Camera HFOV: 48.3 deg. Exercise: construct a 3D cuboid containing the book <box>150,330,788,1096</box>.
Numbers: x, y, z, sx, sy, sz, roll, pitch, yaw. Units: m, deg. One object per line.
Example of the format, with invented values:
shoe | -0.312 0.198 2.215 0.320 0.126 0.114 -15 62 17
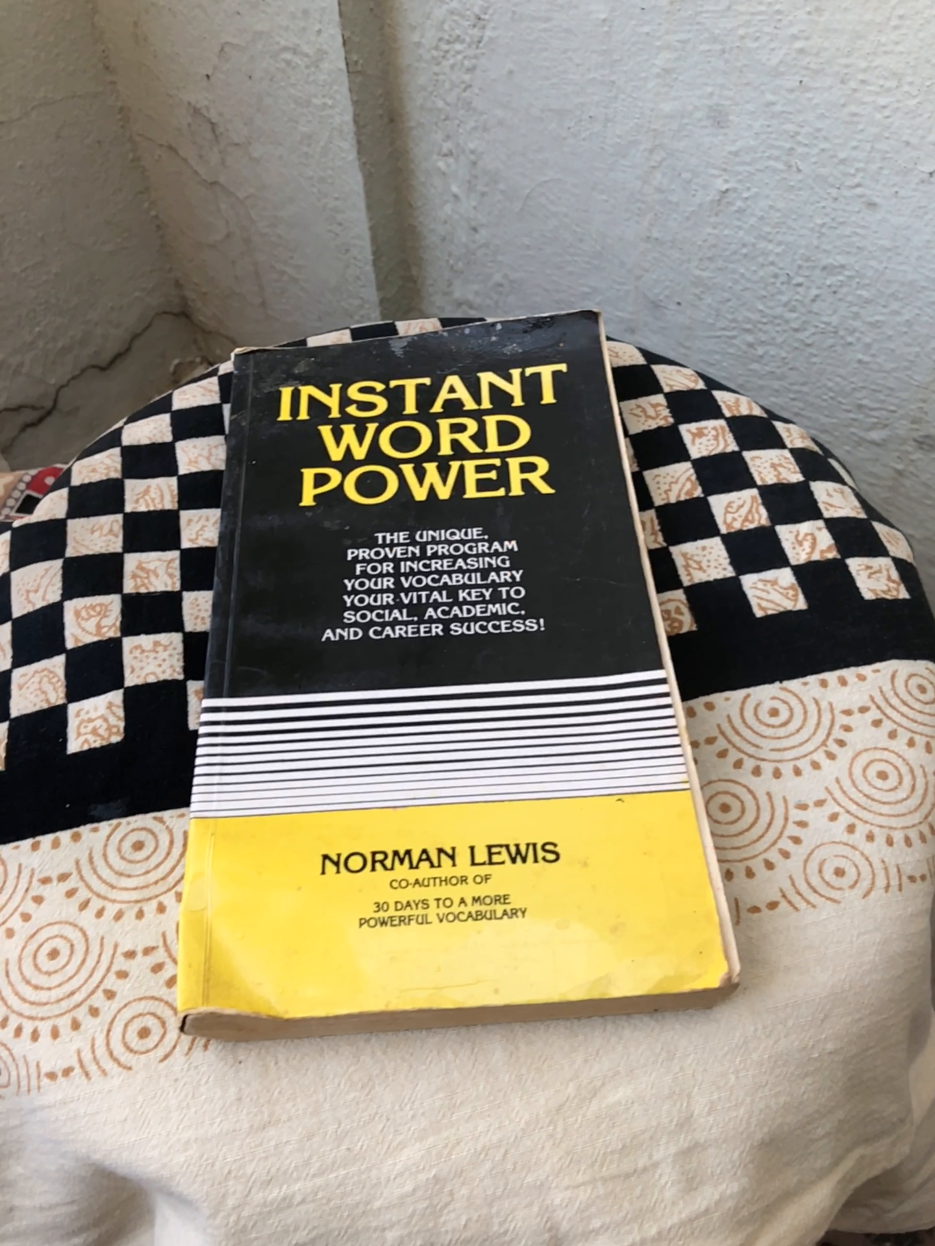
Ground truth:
book | -0.009 0.000 0.376 0.160 0.040 0.301 -4 48 -1
